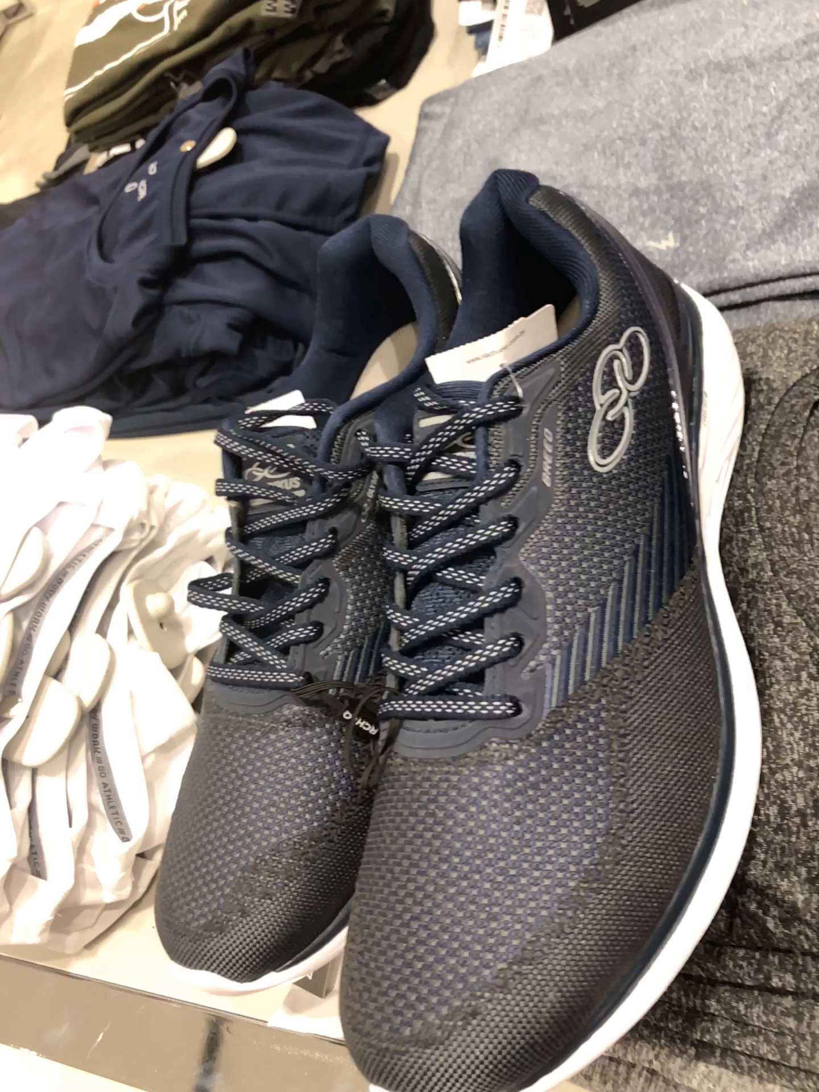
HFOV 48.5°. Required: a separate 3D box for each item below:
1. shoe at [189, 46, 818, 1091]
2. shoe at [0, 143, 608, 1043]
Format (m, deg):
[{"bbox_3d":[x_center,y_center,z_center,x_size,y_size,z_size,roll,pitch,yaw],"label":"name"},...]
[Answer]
[{"bbox_3d":[0.053,0.018,0.293,0.120,0.129,0.291,-16,55,44],"label":"shoe"},{"bbox_3d":[-0.025,0.014,0.355,0.120,0.129,0.291,0,64,34],"label":"shoe"}]
